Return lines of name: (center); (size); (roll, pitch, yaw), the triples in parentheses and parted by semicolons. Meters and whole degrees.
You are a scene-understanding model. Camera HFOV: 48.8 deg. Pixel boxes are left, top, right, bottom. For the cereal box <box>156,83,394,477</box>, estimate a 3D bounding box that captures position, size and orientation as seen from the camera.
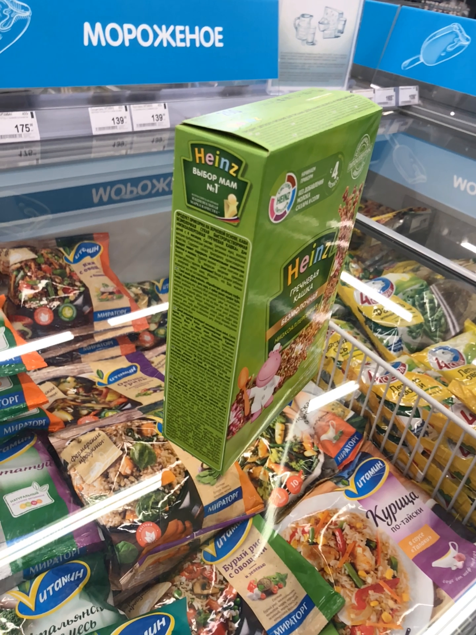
cereal box: (0.019, -0.025, 0.311); (0.050, 0.189, 0.141); (25, 38, 25)
